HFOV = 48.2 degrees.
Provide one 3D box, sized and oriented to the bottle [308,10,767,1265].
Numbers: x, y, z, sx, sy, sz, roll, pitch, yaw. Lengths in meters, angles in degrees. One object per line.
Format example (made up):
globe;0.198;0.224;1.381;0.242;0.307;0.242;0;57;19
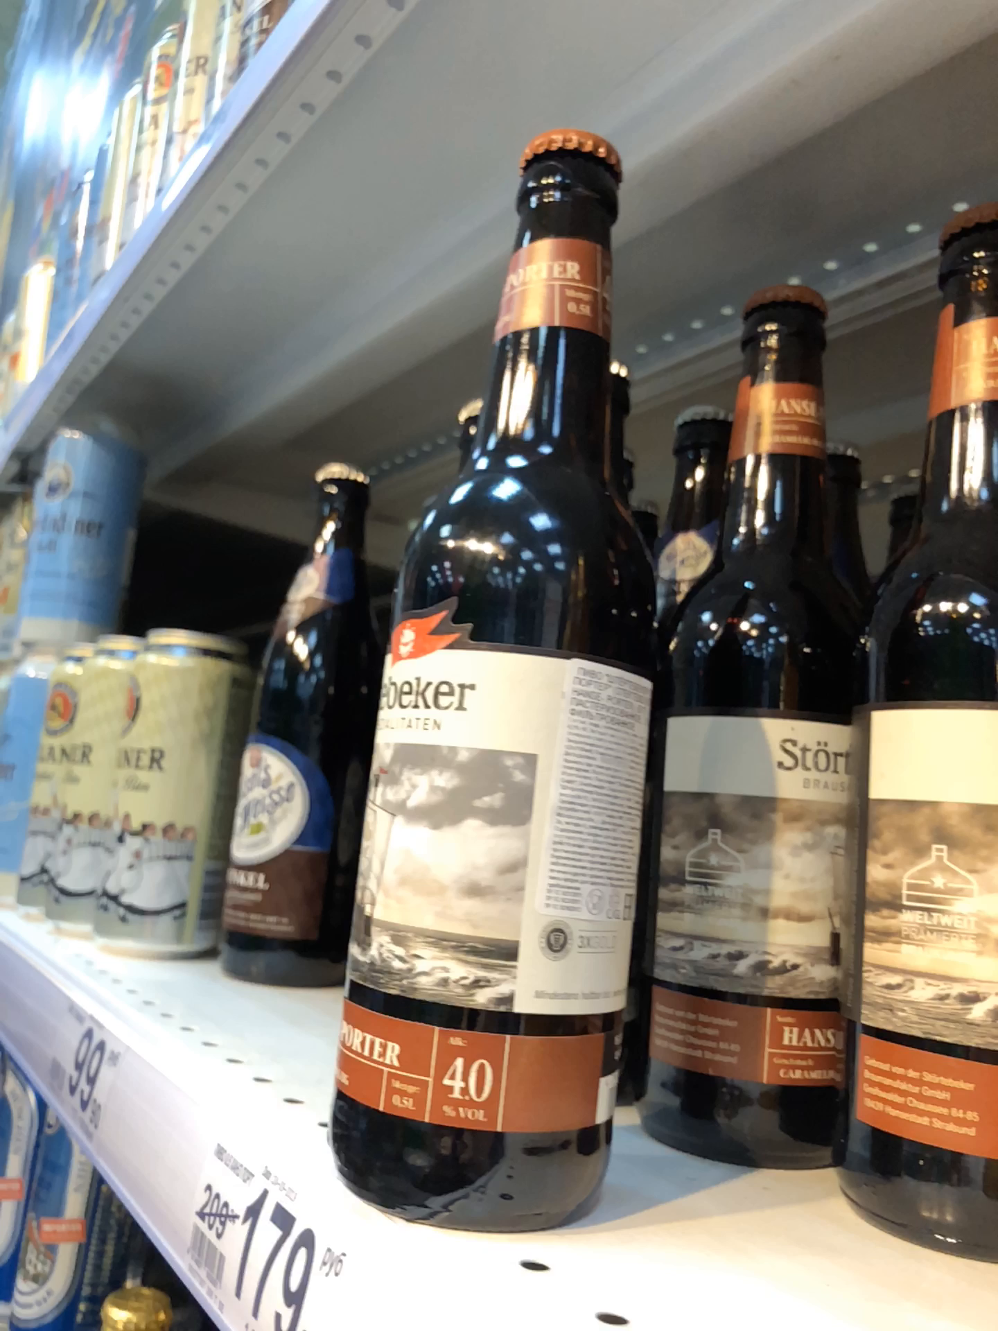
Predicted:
bottle;0.011;-0.010;0.292;0.070;0.281;0.070;5;-8;1
